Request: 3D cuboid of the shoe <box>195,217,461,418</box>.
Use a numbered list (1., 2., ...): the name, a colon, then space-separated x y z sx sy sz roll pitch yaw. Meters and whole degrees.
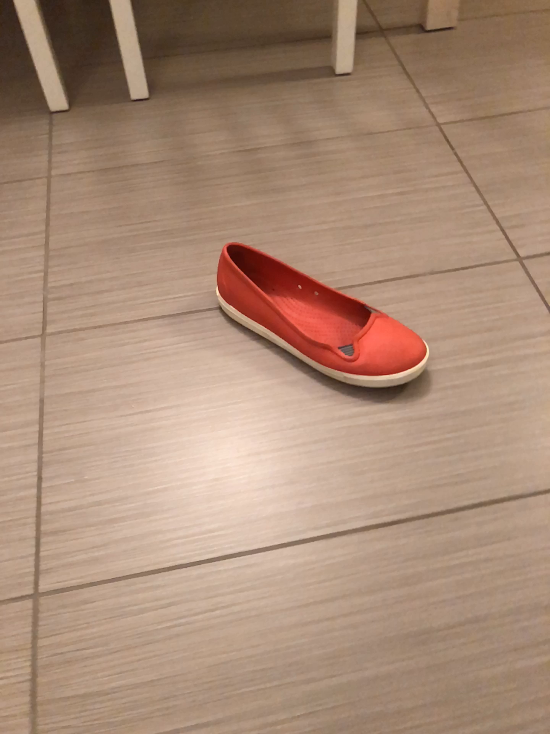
1. shoe: 0.052 -0.062 0.670 0.270 0.070 0.100 29 60 21
